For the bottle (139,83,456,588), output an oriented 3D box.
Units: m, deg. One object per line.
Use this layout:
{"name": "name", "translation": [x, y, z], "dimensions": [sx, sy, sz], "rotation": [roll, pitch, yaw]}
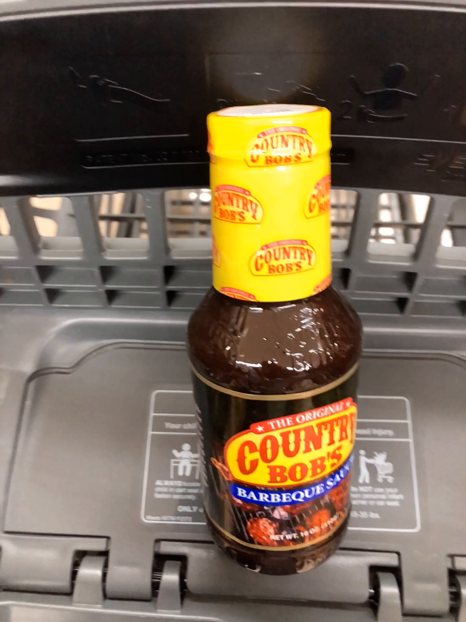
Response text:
{"name": "bottle", "translation": [0.011, 0.006, 0.202], "dimensions": [0.080, 0.080, 0.170], "rotation": [-4, 114, -11]}
